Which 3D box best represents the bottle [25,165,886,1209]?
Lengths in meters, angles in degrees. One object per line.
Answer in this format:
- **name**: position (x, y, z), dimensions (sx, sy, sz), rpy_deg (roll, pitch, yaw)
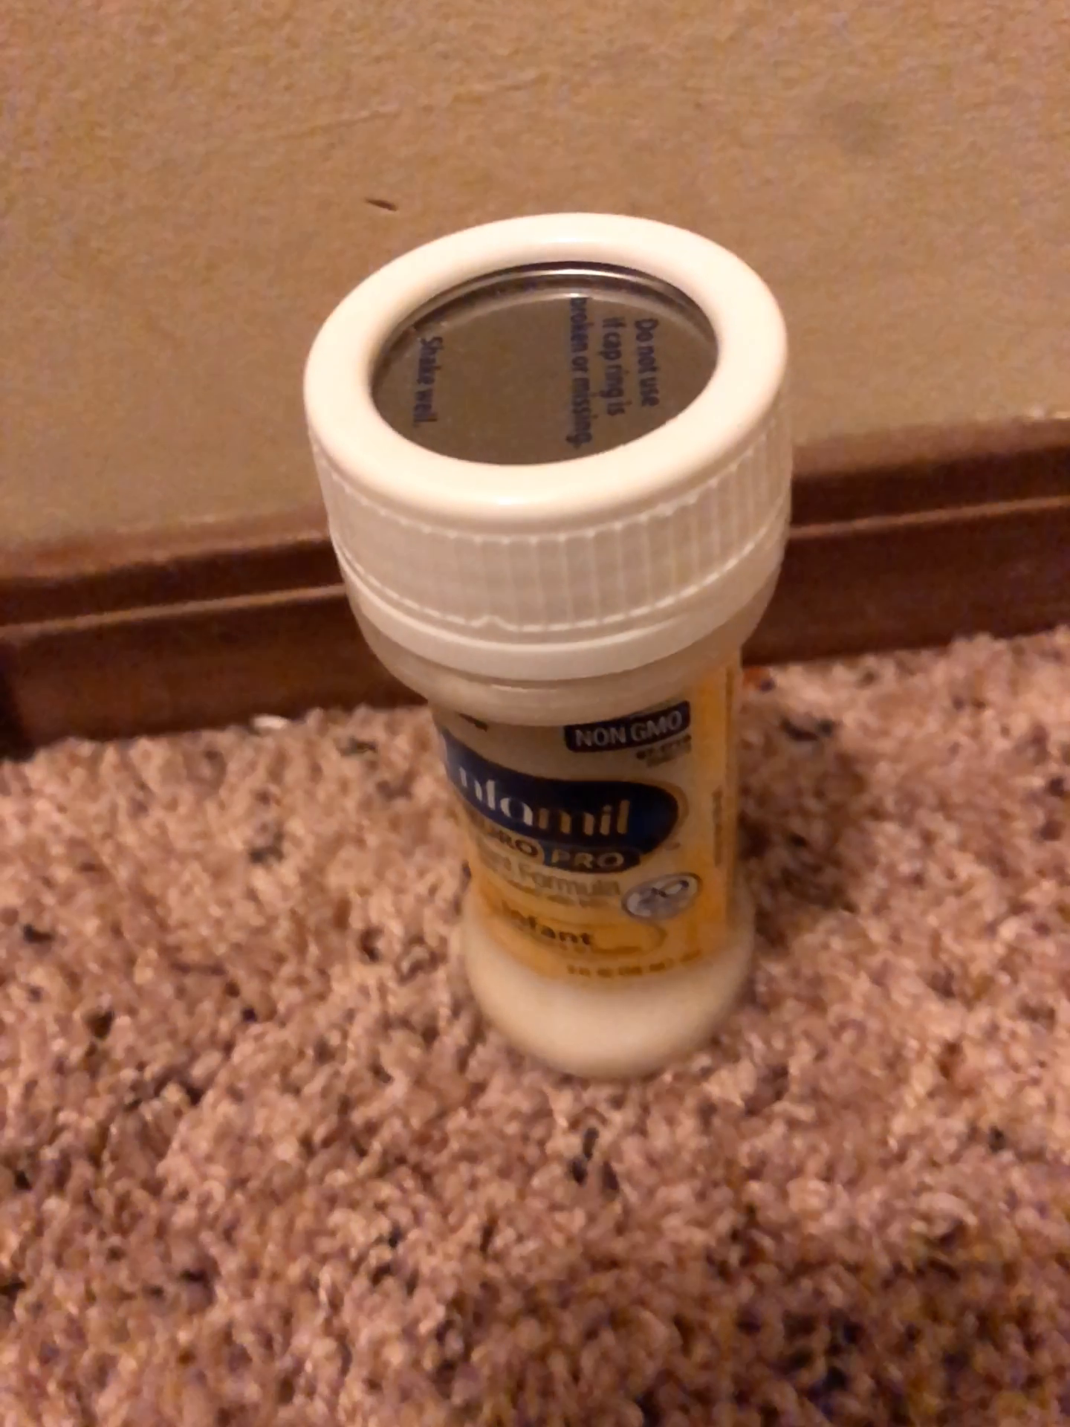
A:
- **bottle**: position (0.001, 0.006, 0.141), dimensions (0.050, 0.110, 0.050), rpy_deg (-4, 53, 6)
